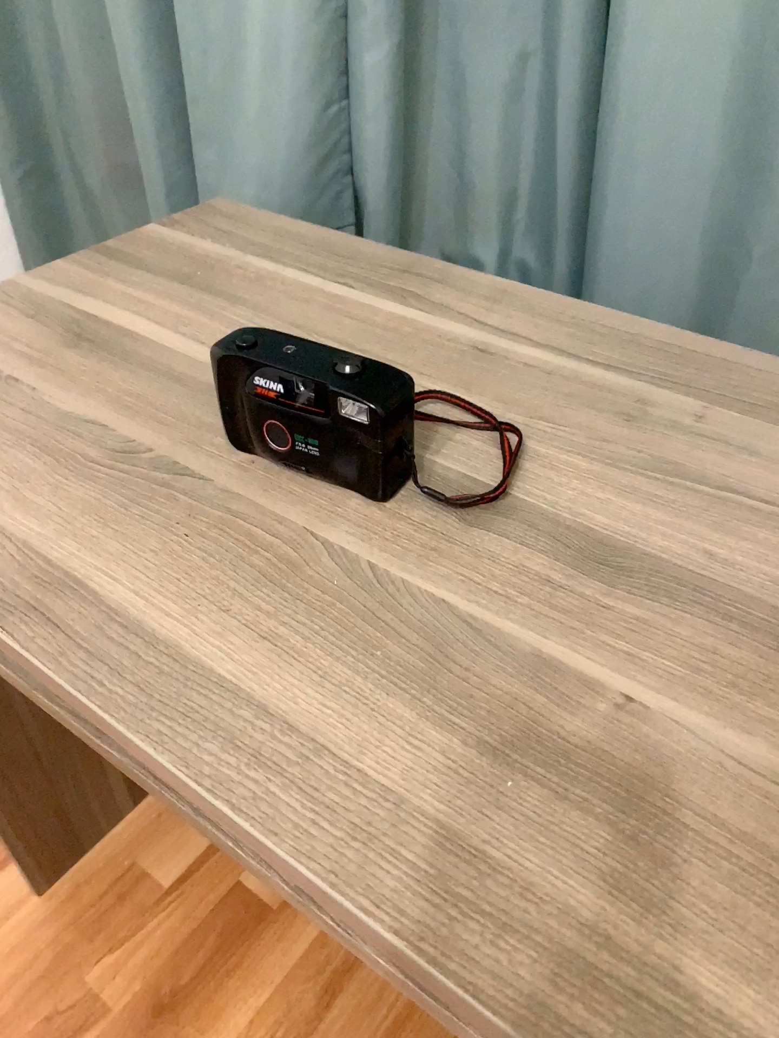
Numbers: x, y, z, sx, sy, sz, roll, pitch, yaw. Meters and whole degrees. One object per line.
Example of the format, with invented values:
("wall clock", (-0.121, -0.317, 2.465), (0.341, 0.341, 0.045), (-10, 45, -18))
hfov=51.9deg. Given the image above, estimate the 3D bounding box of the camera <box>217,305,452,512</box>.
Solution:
("camera", (-0.031, -0.064, 0.447), (0.120, 0.069, 0.046), (23, 43, 23))
